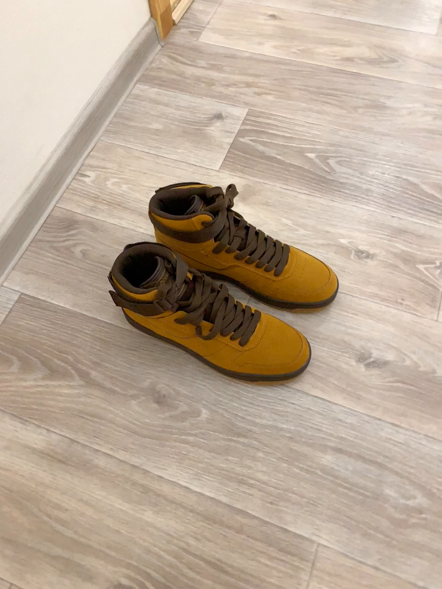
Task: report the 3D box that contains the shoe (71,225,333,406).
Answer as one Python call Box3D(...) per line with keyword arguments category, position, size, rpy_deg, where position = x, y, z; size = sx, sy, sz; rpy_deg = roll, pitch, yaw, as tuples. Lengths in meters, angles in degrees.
Box3D(category="shoe", position=(-0.020, 0.029, 0.573), size=(0.280, 0.140, 0.101), rpy_deg=(17, 64, 12))

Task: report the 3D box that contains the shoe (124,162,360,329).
Box3D(category="shoe", position=(0.028, -0.066, 0.631), size=(0.280, 0.140, 0.101), rpy_deg=(17, 64, 12))
